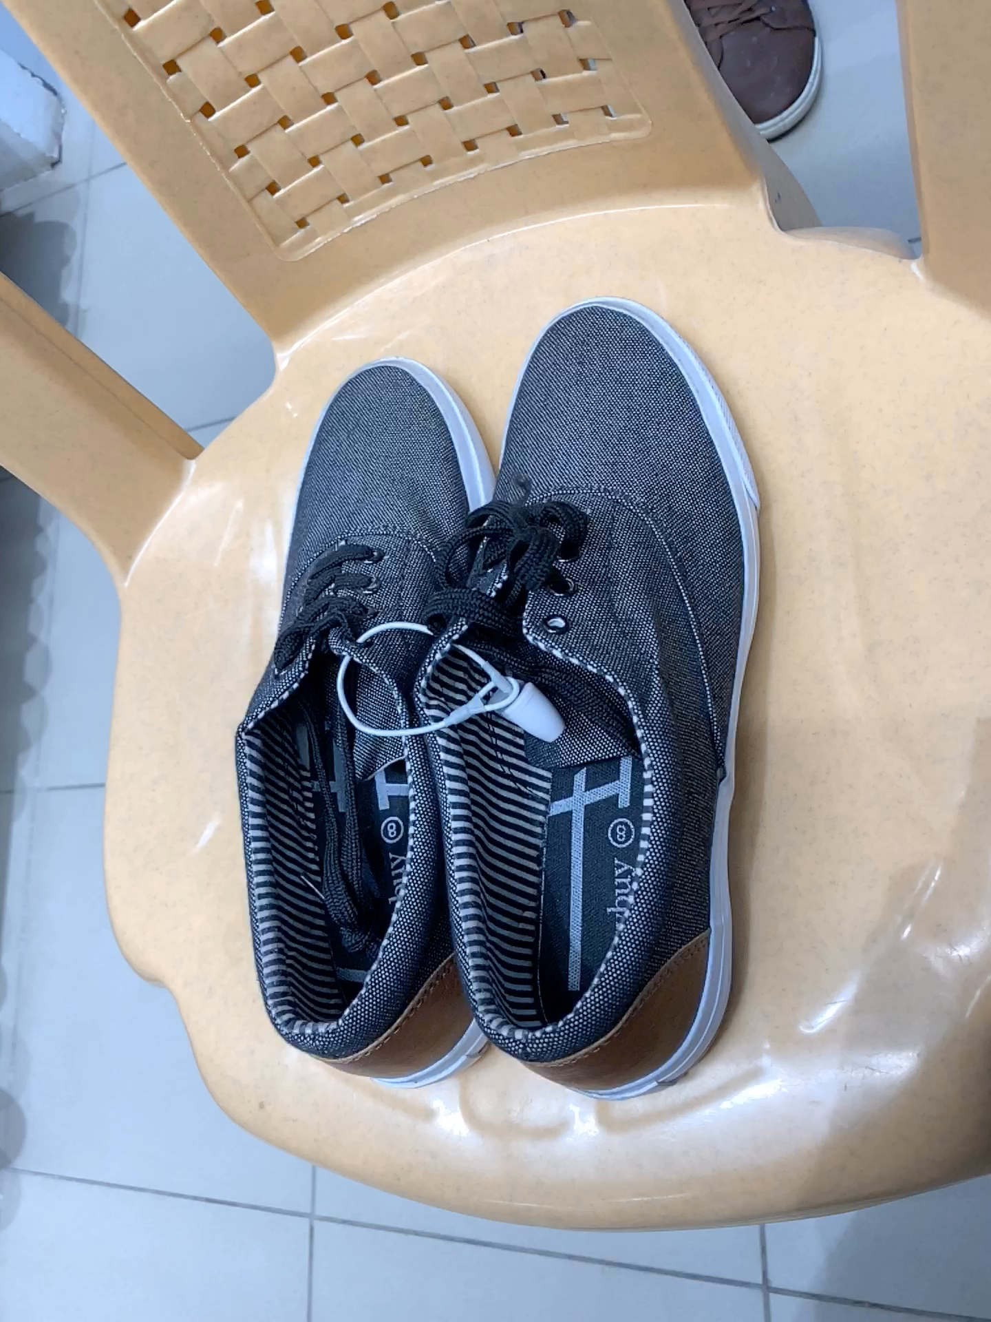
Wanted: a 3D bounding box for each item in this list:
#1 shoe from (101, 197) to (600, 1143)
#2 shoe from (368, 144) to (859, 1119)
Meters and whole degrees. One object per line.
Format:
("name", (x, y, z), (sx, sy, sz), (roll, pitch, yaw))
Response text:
("shoe", (-0.050, 0.006, 0.340), (0.100, 0.110, 0.260), (-14, 73, 24))
("shoe", (0.037, -0.004, 0.343), (0.110, 0.110, 0.270), (-10, 74, 25))
